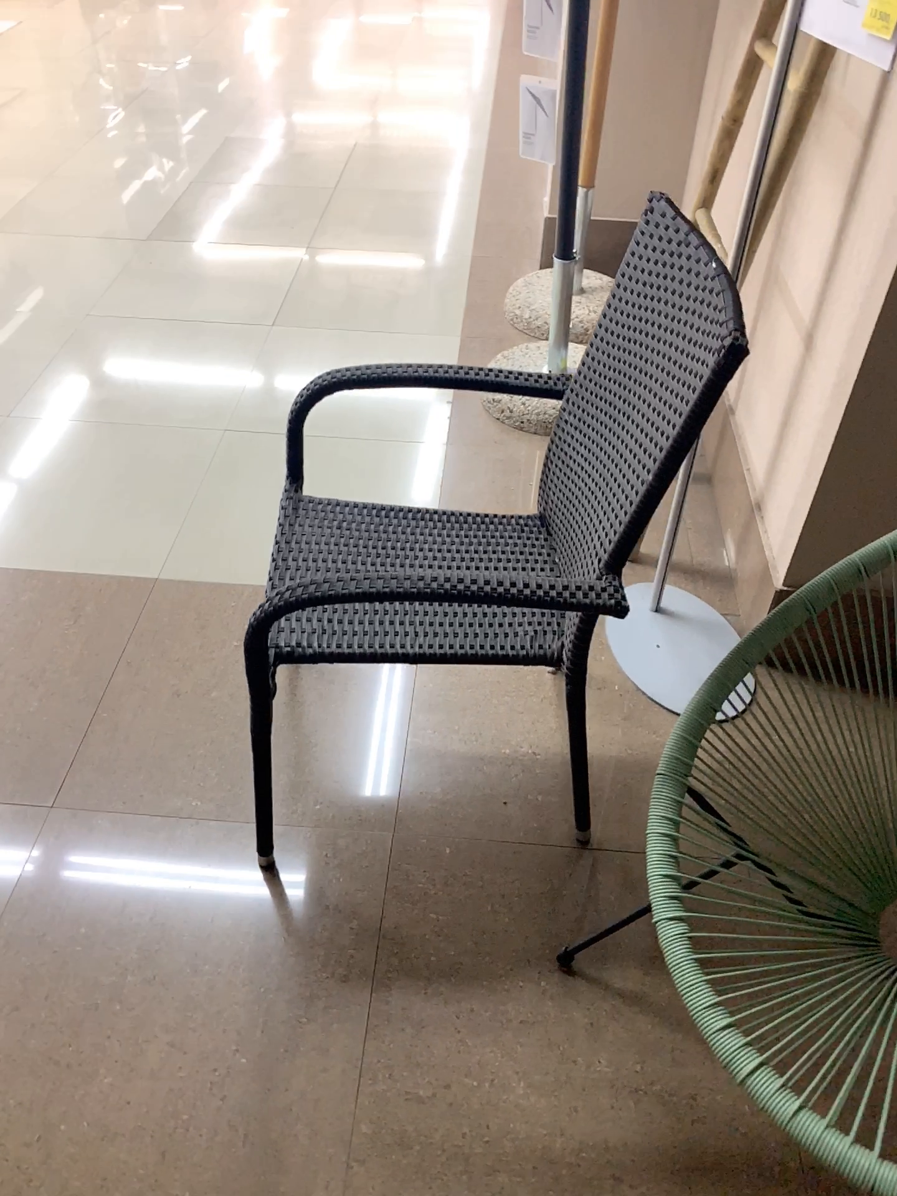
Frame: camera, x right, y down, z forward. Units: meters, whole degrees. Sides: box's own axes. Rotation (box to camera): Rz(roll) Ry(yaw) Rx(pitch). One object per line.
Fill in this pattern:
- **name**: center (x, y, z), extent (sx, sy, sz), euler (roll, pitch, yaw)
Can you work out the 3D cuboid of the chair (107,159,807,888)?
- **chair**: center (-0.005, -0.077, 1.438), extent (0.680, 0.956, 0.623), euler (0, 43, -2)
